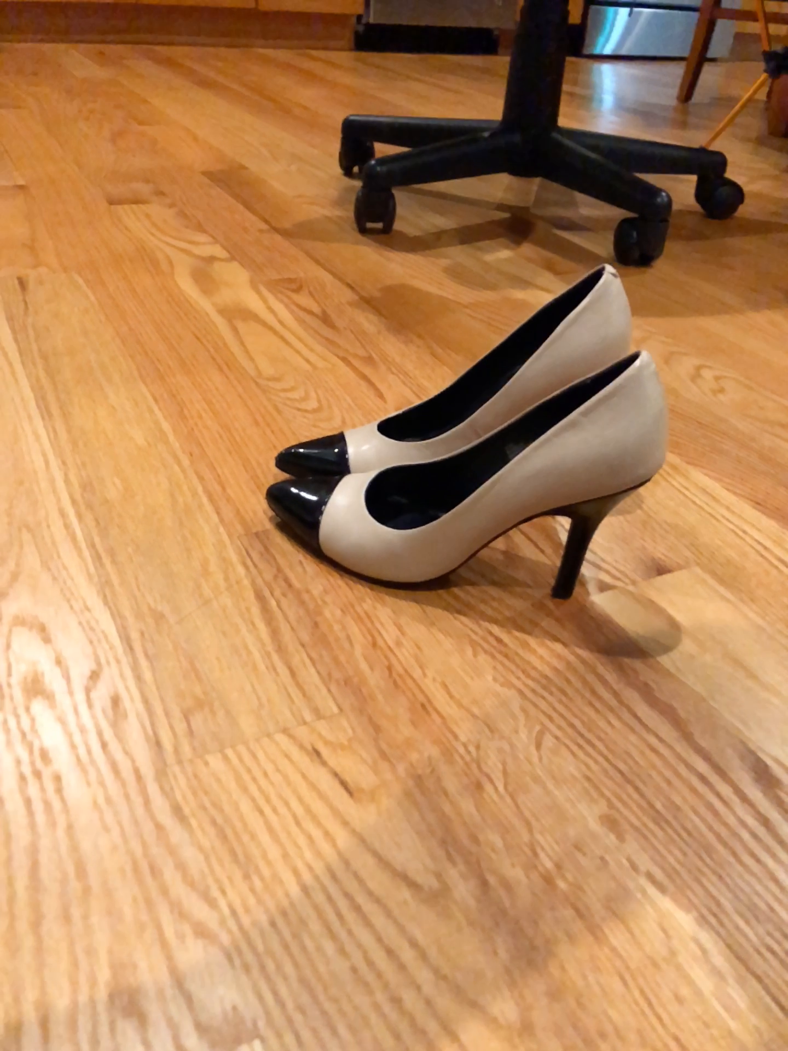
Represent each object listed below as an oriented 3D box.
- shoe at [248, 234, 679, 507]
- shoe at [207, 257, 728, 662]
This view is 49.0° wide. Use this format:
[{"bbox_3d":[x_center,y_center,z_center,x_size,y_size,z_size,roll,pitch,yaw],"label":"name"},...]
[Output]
[{"bbox_3d":[0.032,-0.095,0.534,0.235,0.138,0.085,-1,32,-8],"label":"shoe"},{"bbox_3d":[0.031,-0.042,0.450,0.235,0.138,0.085,15,34,17],"label":"shoe"}]
